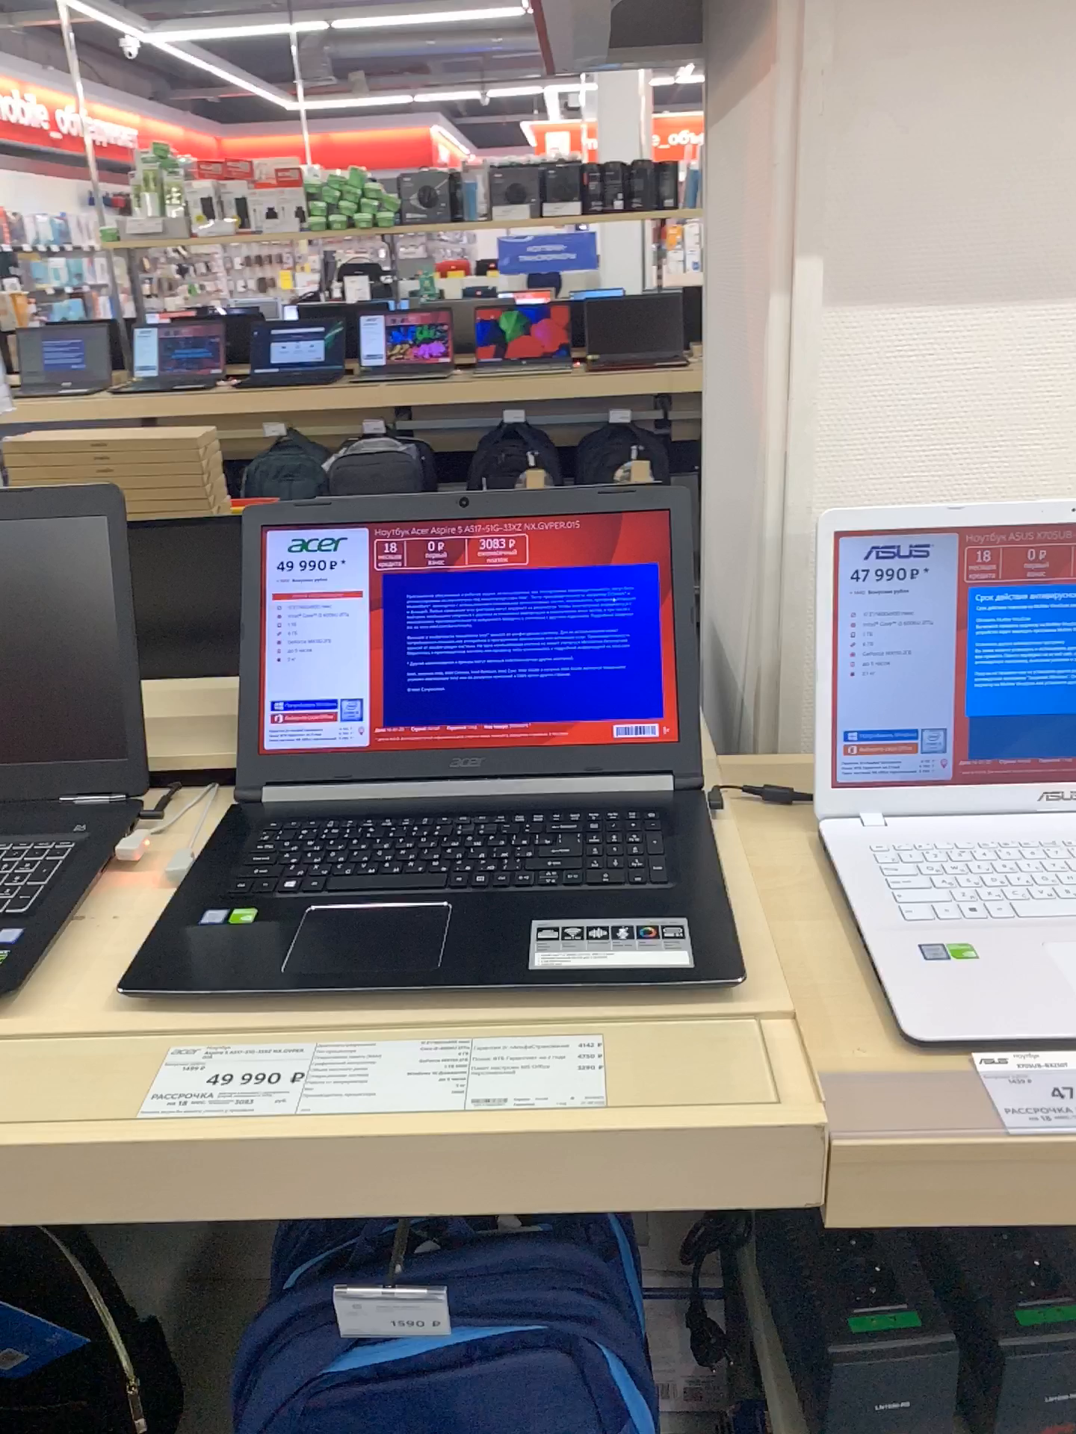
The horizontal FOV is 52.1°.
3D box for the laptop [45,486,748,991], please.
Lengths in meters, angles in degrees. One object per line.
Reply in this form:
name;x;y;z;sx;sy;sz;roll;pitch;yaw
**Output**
laptop;-0.072;-0.015;0.889;0.420;0.235;0.422;-2;23;3
